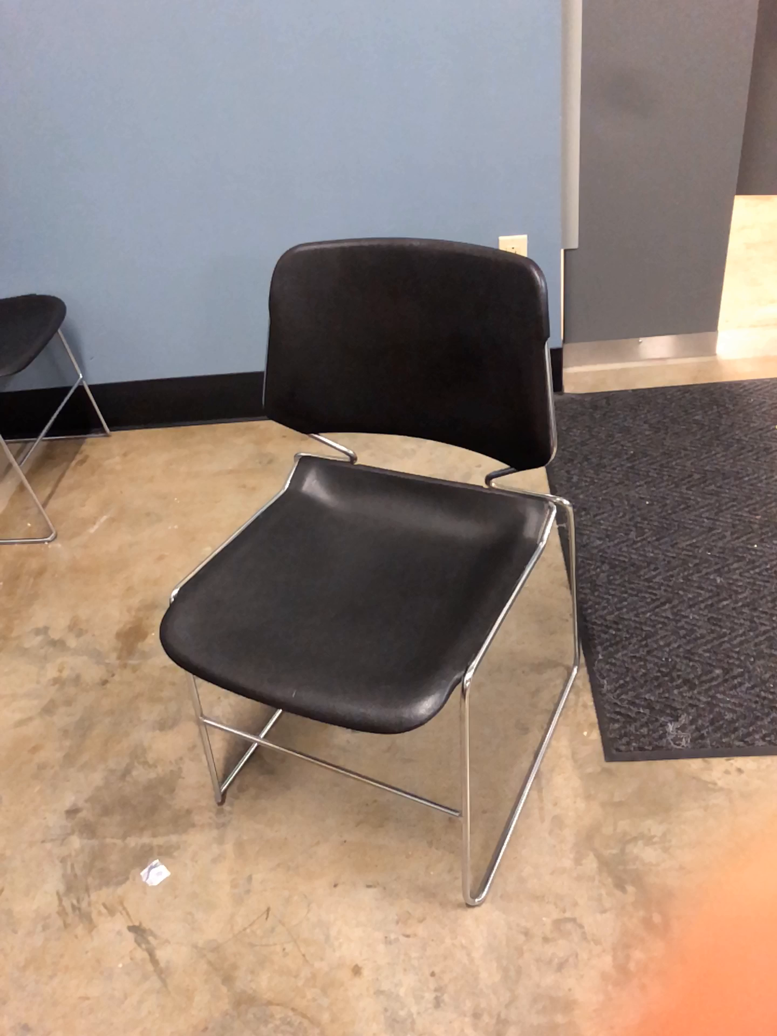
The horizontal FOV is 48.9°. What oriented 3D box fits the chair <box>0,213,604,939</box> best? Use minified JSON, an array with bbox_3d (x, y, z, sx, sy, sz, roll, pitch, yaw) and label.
[{"bbox_3d":[-0.039,0.053,1.214,0.525,0.765,0.552,11,41,25],"label":"chair"}]
